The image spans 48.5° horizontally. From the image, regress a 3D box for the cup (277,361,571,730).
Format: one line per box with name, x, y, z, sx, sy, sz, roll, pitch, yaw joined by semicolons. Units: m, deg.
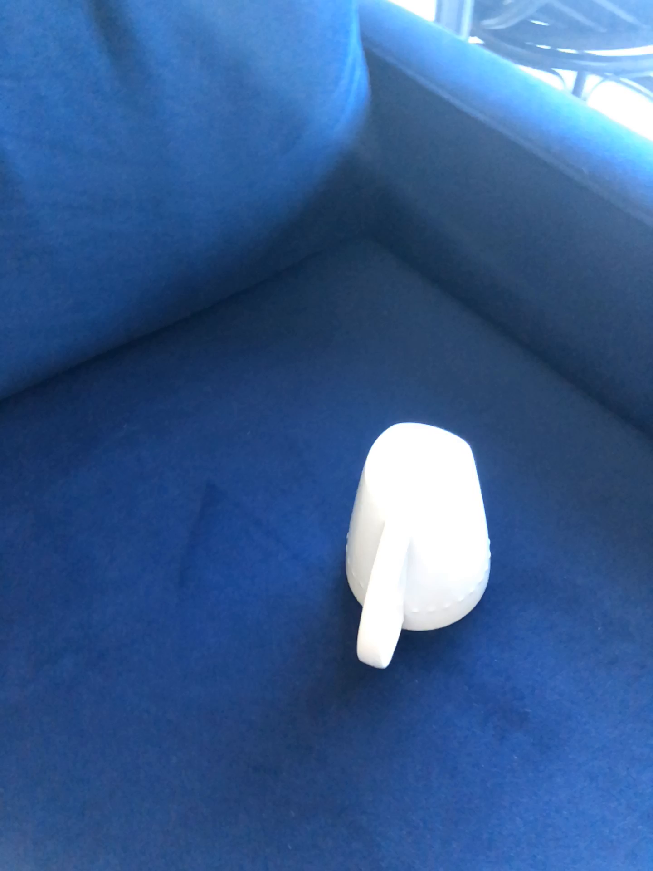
cup;0.056;0.055;0.397;0.110;0.090;0.150;16;54;13
